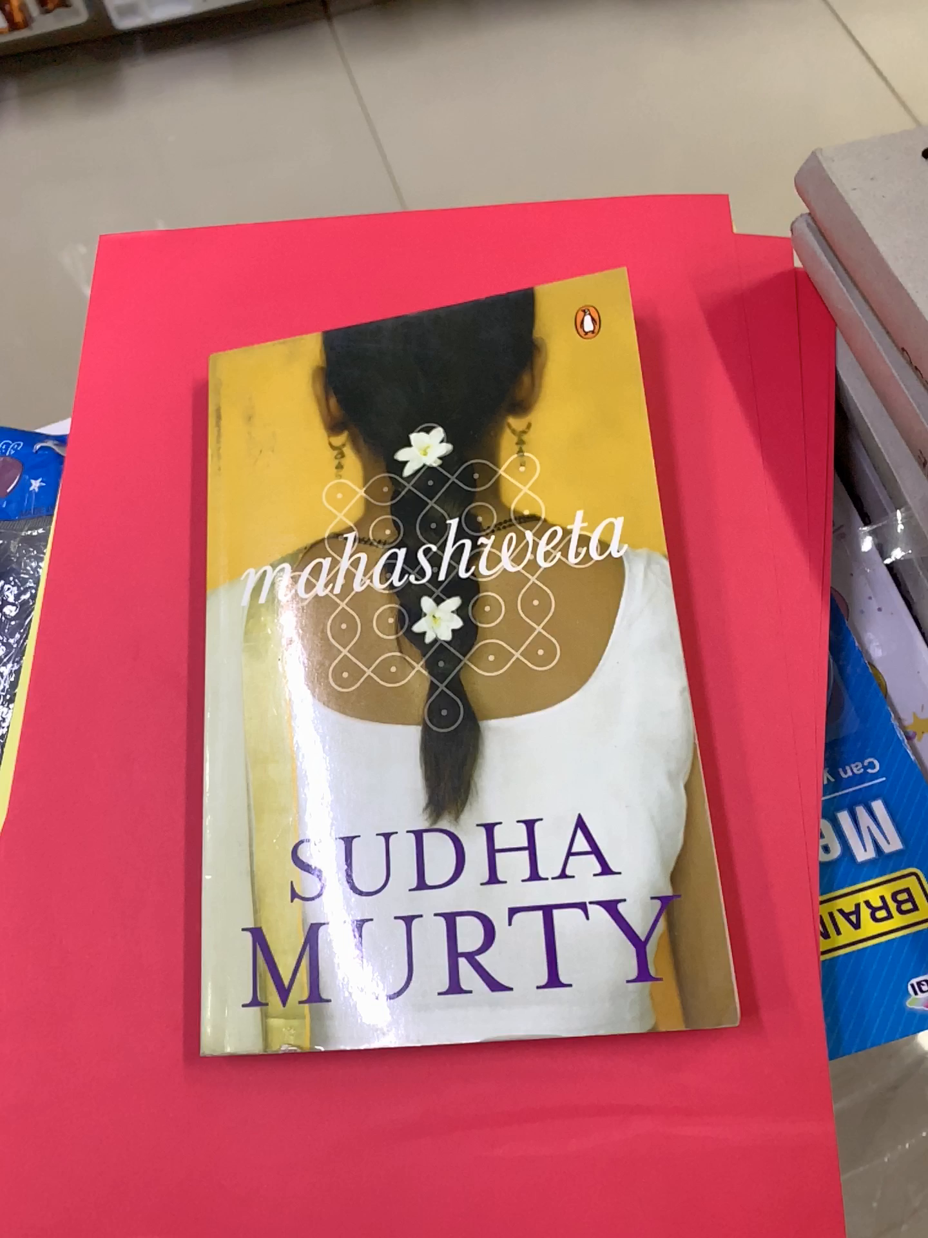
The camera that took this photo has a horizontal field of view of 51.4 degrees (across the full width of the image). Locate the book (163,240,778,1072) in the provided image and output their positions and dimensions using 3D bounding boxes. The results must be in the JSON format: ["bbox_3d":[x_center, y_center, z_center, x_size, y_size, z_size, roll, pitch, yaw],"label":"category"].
[{"bbox_3d":[-0.008,0.005,0.254,0.140,0.020,0.201,-8,72,11],"label":"book"}]
